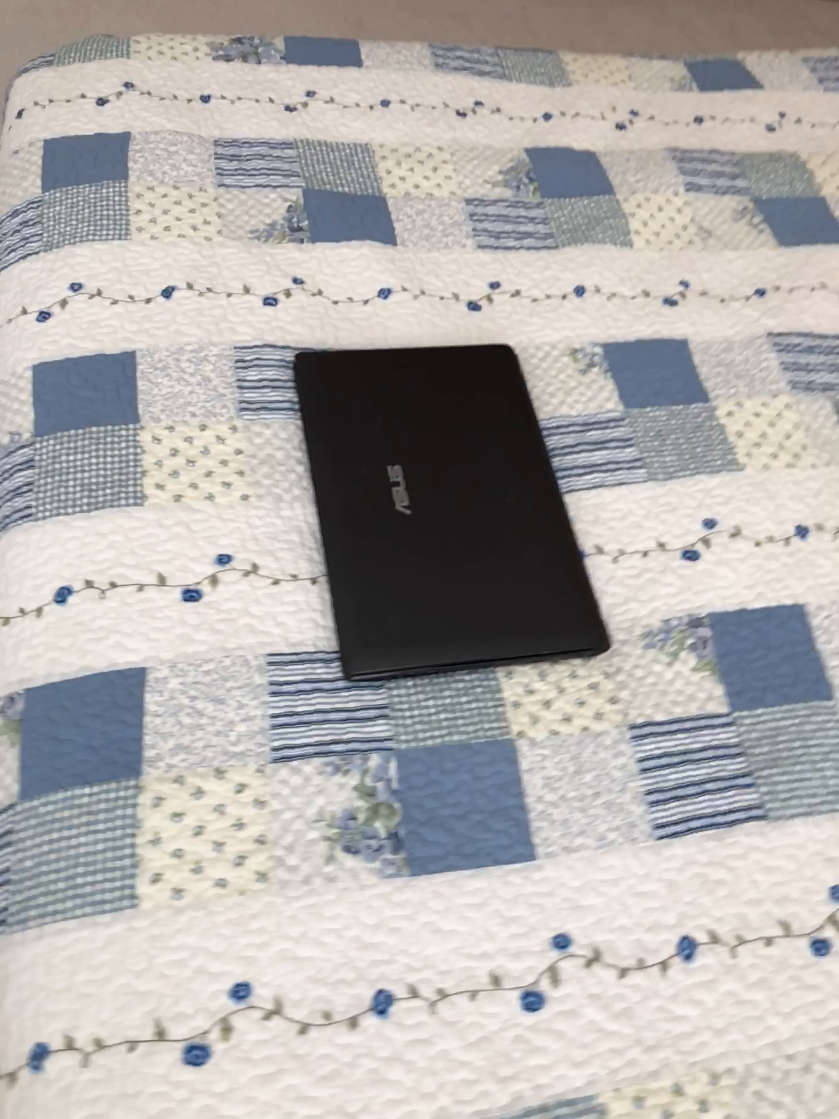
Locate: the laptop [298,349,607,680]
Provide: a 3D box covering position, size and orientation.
[{"bbox_3d":[0.020,-0.065,0.902,0.234,0.006,0.370,-5,58,-12],"label":"laptop"}]
